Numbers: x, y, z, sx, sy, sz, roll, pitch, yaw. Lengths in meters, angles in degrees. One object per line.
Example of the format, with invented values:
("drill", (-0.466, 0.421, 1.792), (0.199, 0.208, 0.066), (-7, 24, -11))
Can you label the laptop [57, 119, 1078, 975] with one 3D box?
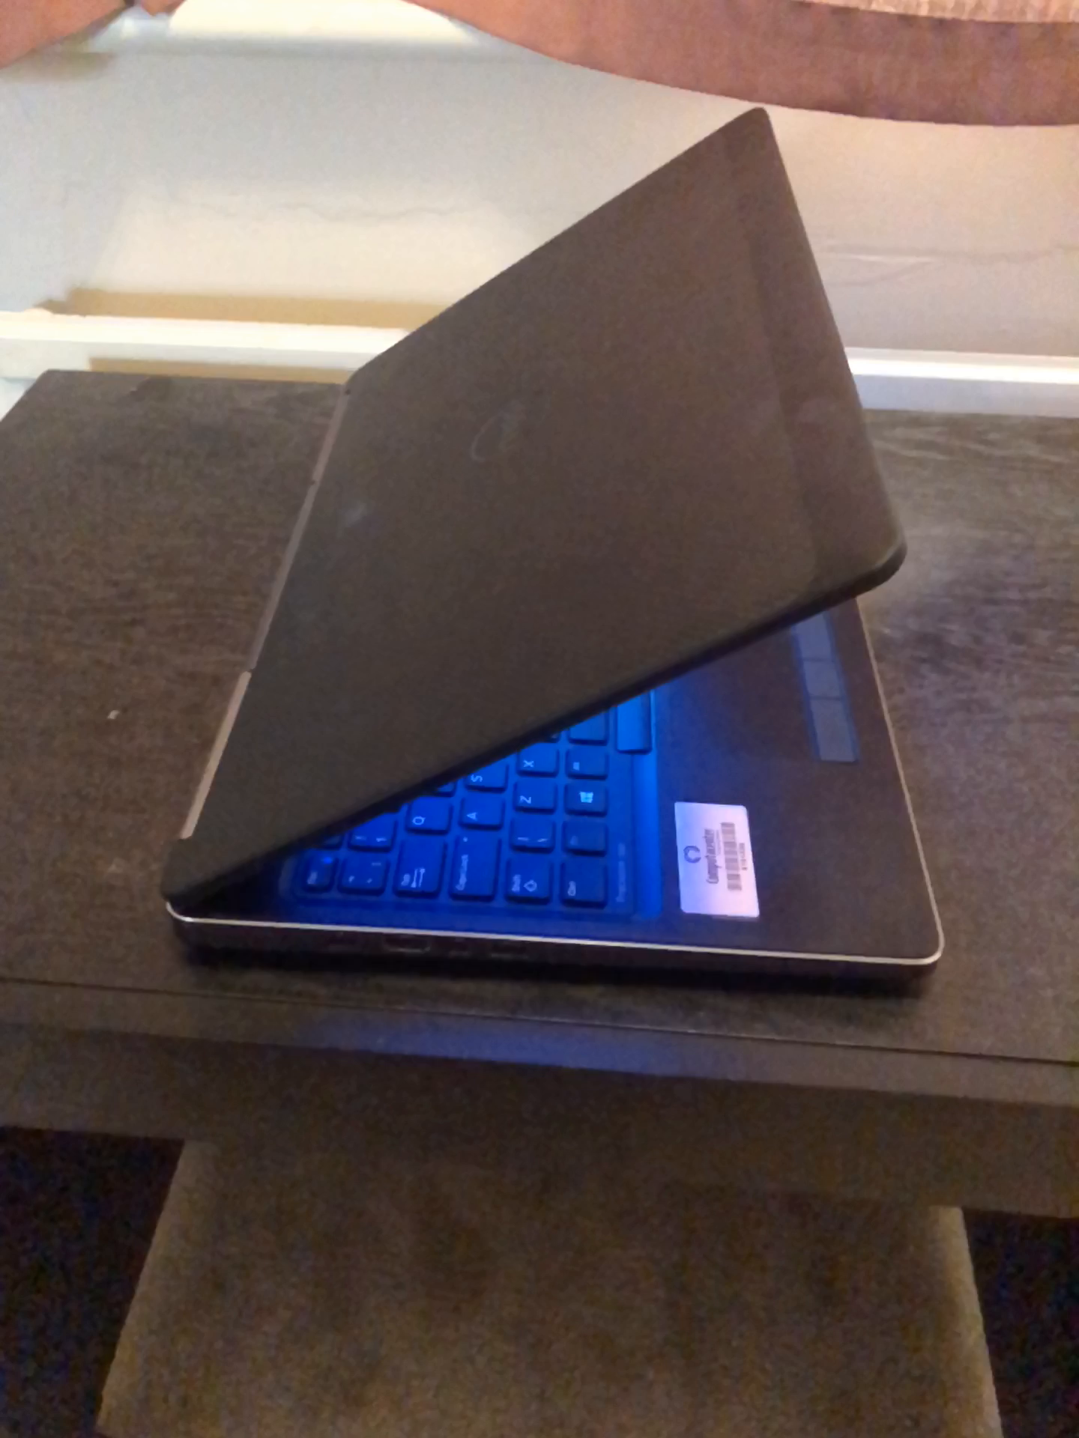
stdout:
("laptop", (0.012, -0.103, 0.463), (0.243, 0.134, 0.365), (3, 42, 3))
